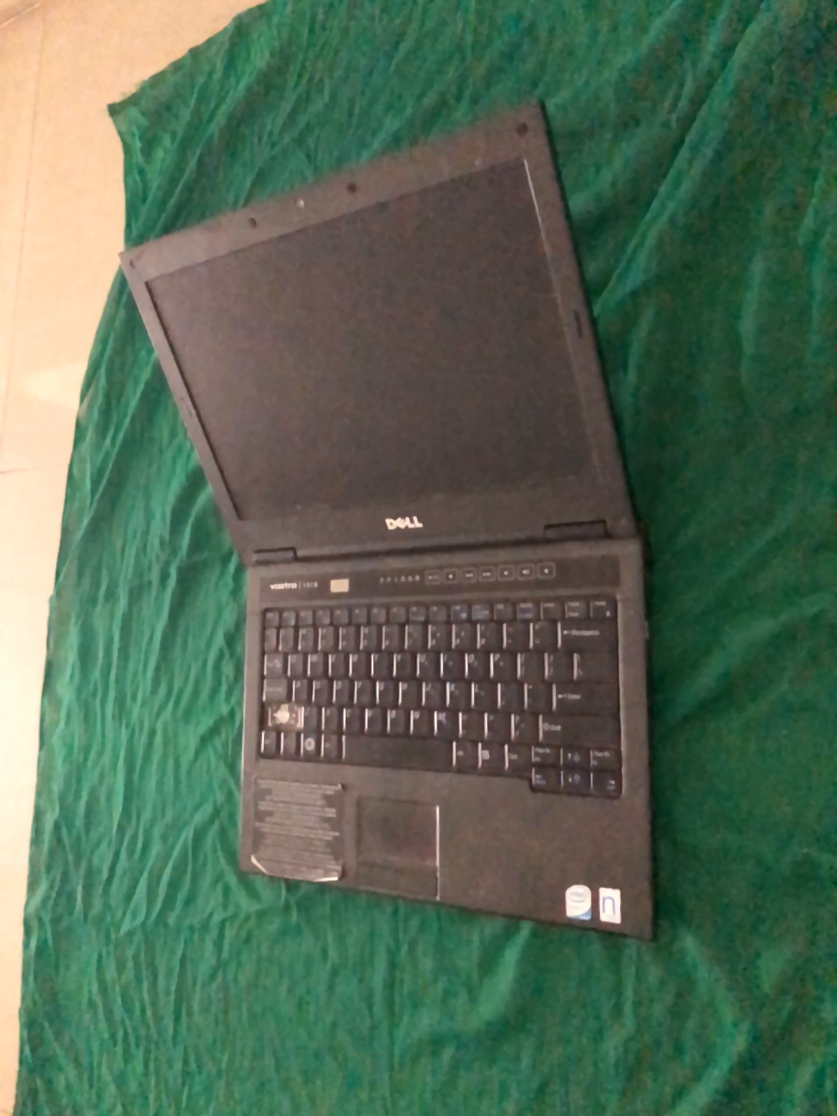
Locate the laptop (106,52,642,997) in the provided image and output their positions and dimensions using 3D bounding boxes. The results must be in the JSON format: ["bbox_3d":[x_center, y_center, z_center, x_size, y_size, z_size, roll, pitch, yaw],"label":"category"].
[{"bbox_3d":[-0.041,-0.002,0.569,0.314,0.127,0.438,-4,86,35],"label":"laptop"}]
